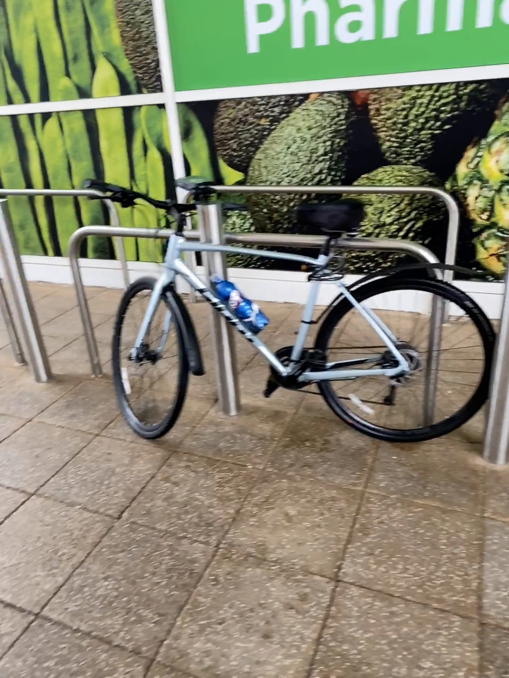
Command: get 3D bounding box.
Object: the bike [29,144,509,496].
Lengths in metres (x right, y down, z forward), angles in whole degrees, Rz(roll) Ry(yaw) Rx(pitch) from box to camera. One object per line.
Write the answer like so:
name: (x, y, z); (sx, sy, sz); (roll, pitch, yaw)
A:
bike: (0.109, -0.132, 1.852); (1.461, 0.963, 0.609); (3, 25, 15)
